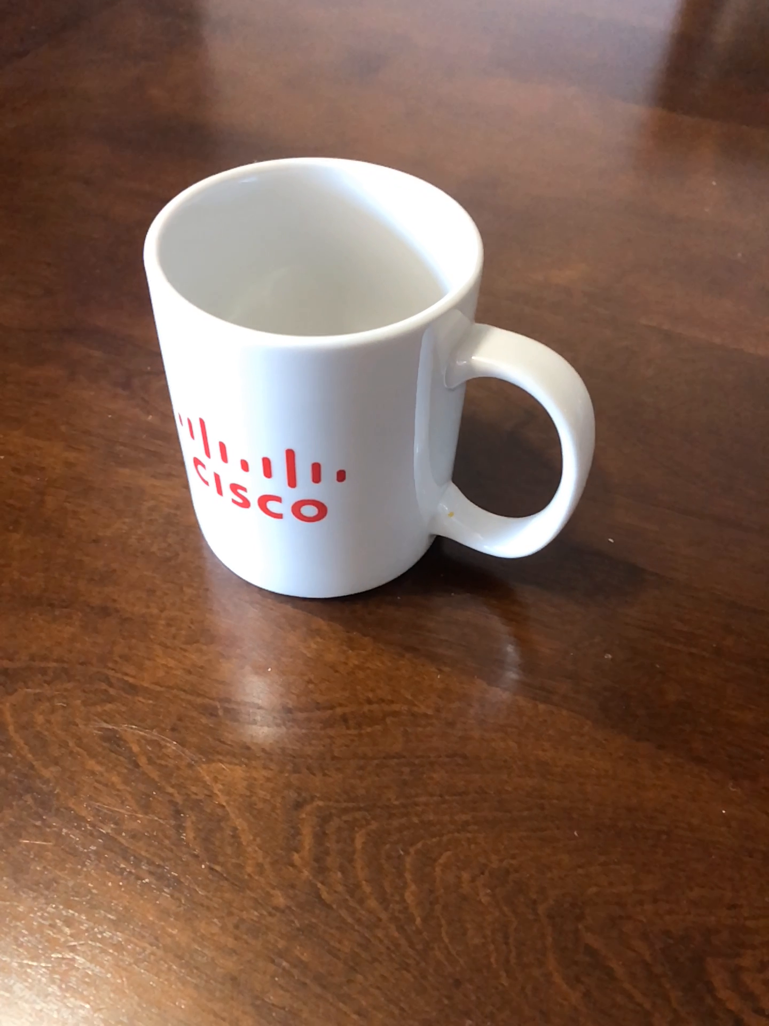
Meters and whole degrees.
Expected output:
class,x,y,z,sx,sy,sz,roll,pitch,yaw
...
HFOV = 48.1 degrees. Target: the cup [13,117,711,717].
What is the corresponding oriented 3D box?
class,x,y,z,sx,sy,sz,roll,pitch,yaw
cup,-0.003,-0.027,0.220,0.130,0.090,0.080,19,50,14
